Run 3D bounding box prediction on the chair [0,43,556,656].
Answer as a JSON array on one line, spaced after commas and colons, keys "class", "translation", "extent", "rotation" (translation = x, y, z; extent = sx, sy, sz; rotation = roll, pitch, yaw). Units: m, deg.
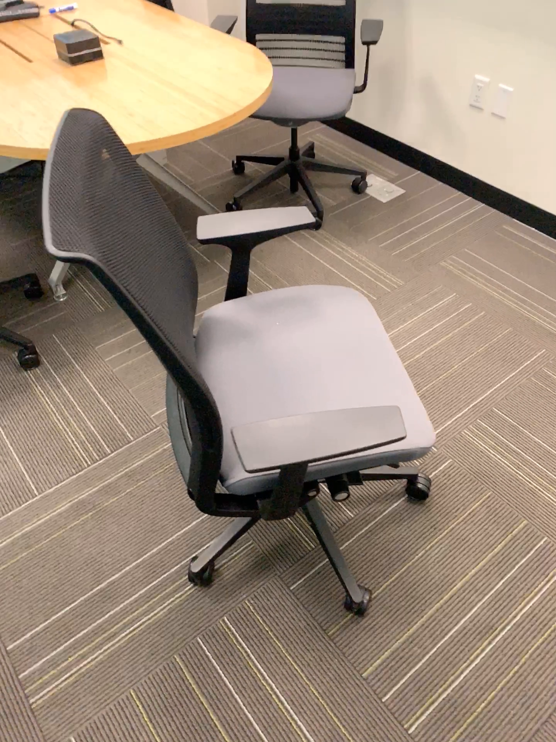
[{"class": "chair", "translation": [0.003, 0.014, 1.157], "extent": [0.690, 0.994, 0.654], "rotation": [-8, 47, -6]}]
